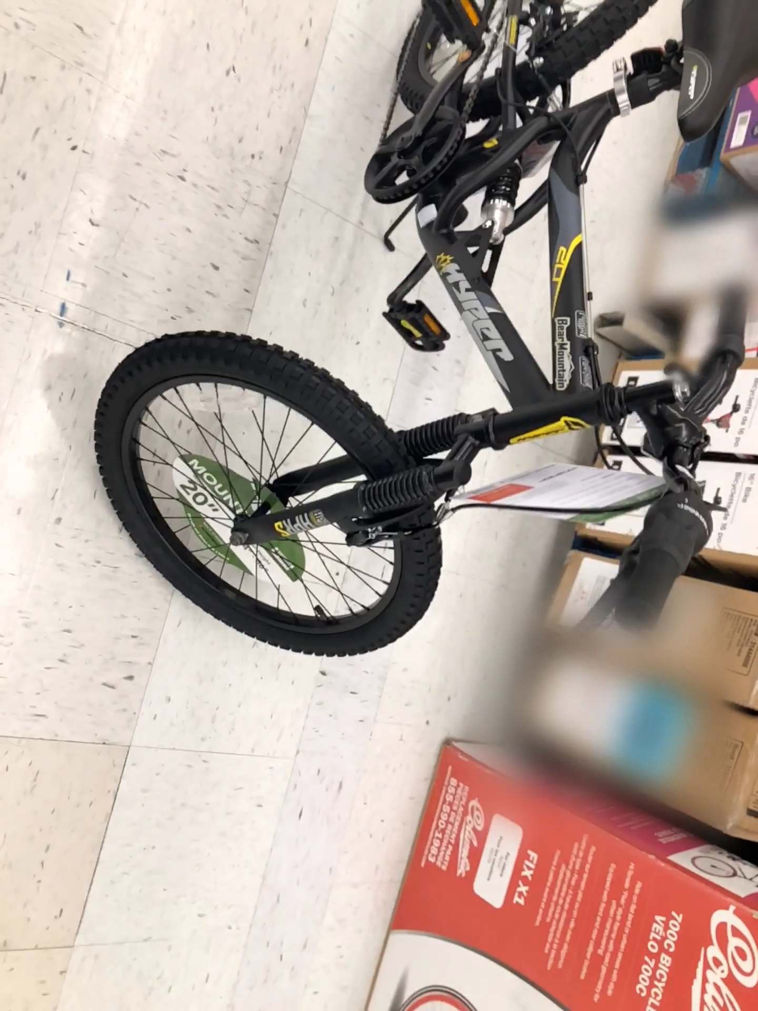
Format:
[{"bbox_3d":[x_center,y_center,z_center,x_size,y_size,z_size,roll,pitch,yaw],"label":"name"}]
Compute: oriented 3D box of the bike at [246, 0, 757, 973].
[{"bbox_3d":[0.384,-0.312,1.141,0.525,0.850,1.258,25,78,-36],"label":"bike"}]
